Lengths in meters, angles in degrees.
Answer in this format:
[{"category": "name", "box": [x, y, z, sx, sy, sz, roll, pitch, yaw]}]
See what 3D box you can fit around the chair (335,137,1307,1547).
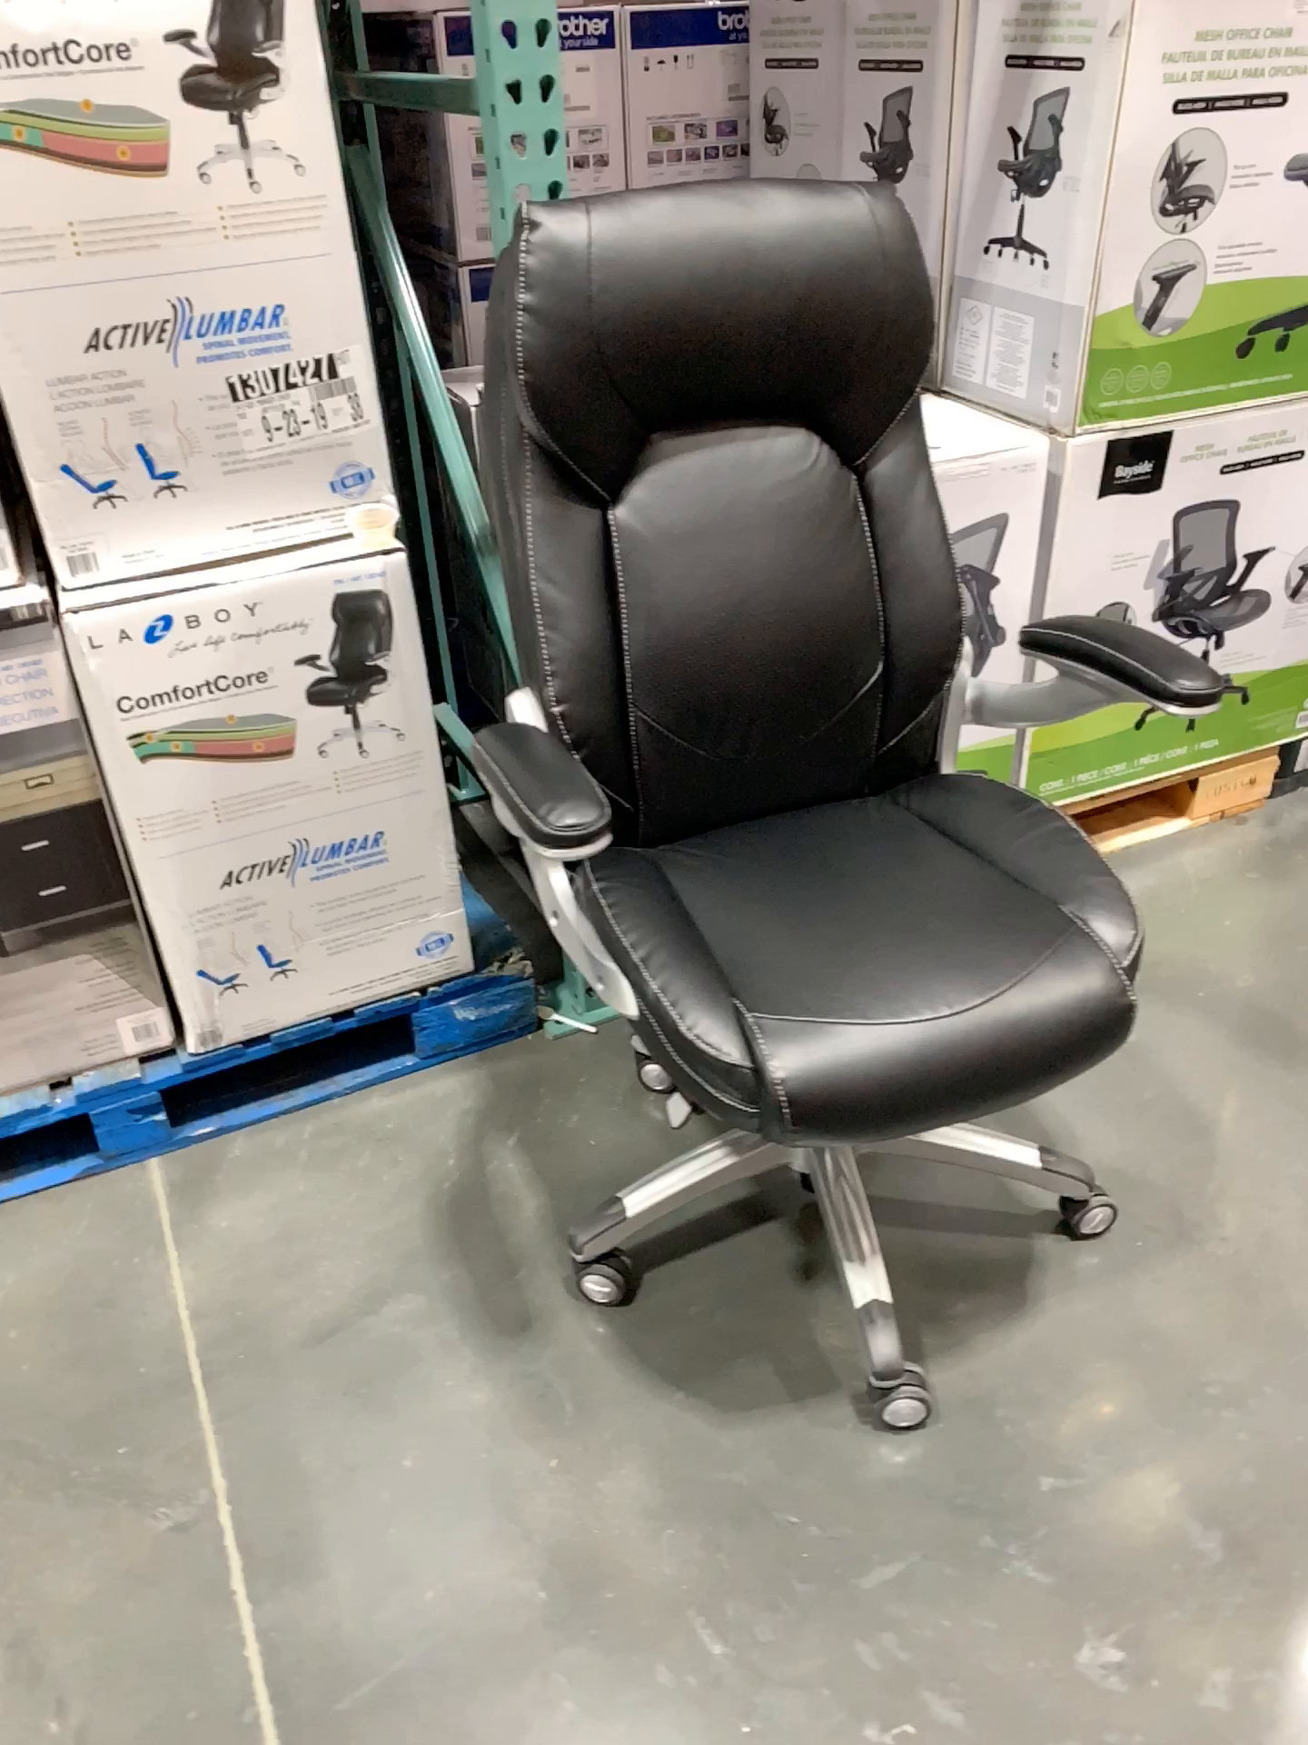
[{"category": "chair", "box": [0.185, -0.075, 1.383, 0.728, 1.128, 0.708, -13, 34, -16]}]
